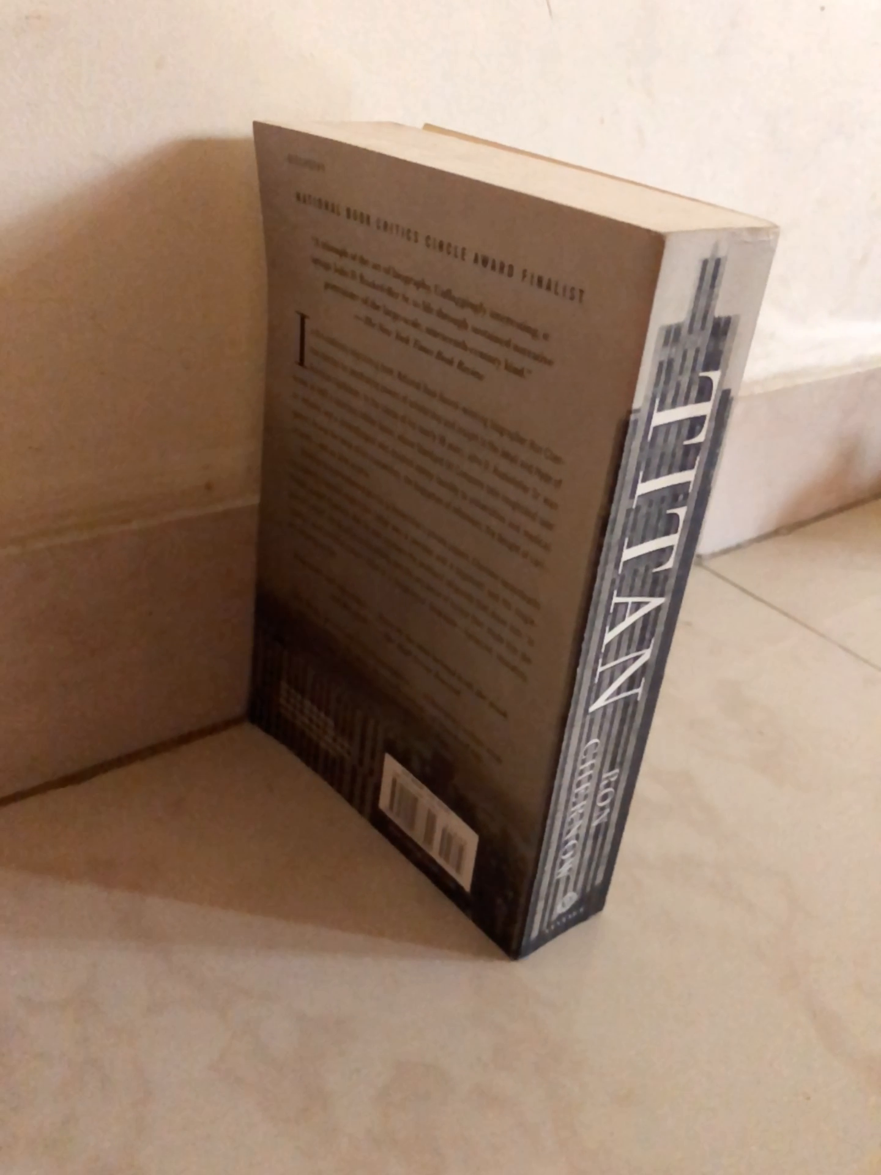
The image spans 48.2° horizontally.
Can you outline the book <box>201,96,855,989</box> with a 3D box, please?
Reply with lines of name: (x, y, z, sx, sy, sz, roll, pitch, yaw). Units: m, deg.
book: (-0.002, -0.025, 0.332, 0.060, 0.229, 0.200, -19, 39, -37)
